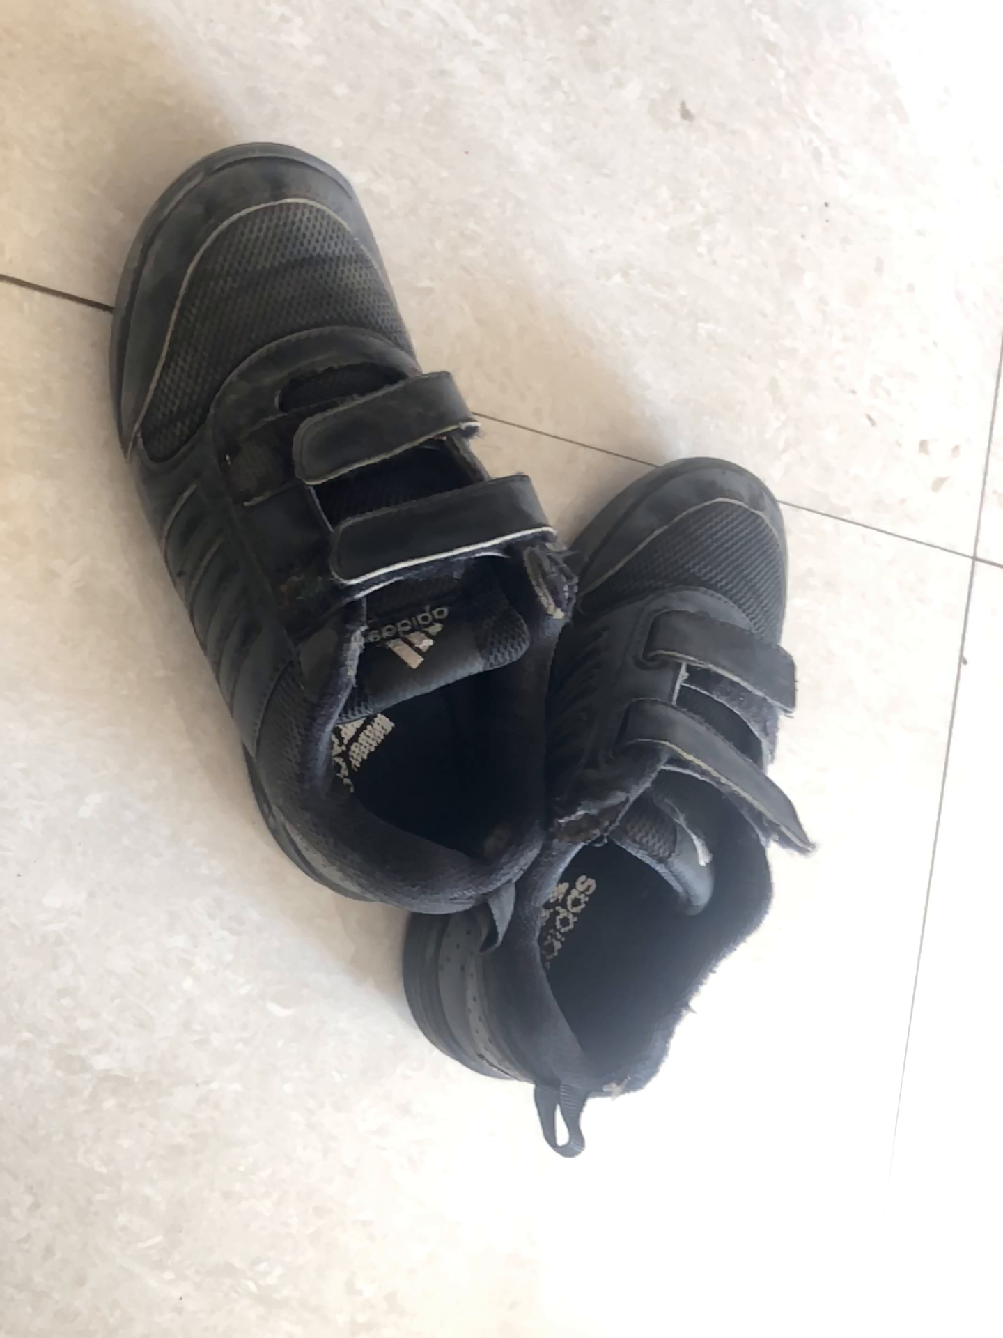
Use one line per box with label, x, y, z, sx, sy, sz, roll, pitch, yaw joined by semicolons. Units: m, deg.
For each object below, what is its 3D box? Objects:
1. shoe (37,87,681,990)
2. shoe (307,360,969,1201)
shoe;-0.038;-0.035;0.308;0.100;0.080;0.200;-22;101;-25
shoe;0.044;0.031;0.363;0.100;0.100;0.220;30;78;-25
